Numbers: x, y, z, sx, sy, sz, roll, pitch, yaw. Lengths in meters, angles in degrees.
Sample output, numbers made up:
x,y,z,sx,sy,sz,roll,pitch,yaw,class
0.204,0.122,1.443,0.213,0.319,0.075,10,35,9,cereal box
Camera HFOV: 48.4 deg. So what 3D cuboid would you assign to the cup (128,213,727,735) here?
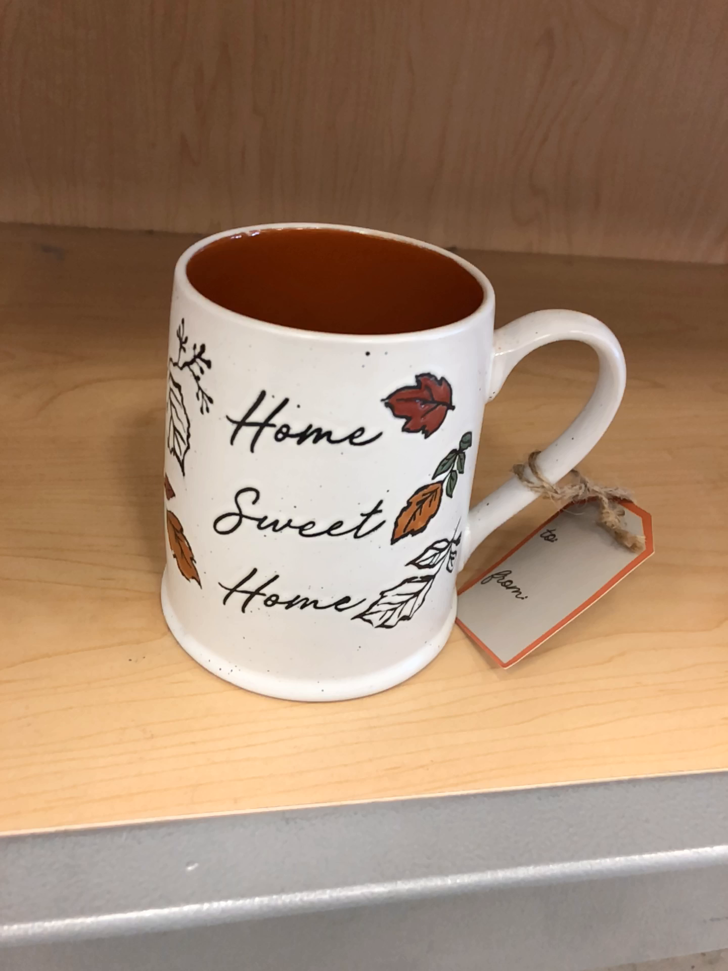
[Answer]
x,y,z,sx,sy,sz,roll,pitch,yaw,class
0.008,-0.006,0.211,0.125,0.099,0.081,-1,35,-12,cup
